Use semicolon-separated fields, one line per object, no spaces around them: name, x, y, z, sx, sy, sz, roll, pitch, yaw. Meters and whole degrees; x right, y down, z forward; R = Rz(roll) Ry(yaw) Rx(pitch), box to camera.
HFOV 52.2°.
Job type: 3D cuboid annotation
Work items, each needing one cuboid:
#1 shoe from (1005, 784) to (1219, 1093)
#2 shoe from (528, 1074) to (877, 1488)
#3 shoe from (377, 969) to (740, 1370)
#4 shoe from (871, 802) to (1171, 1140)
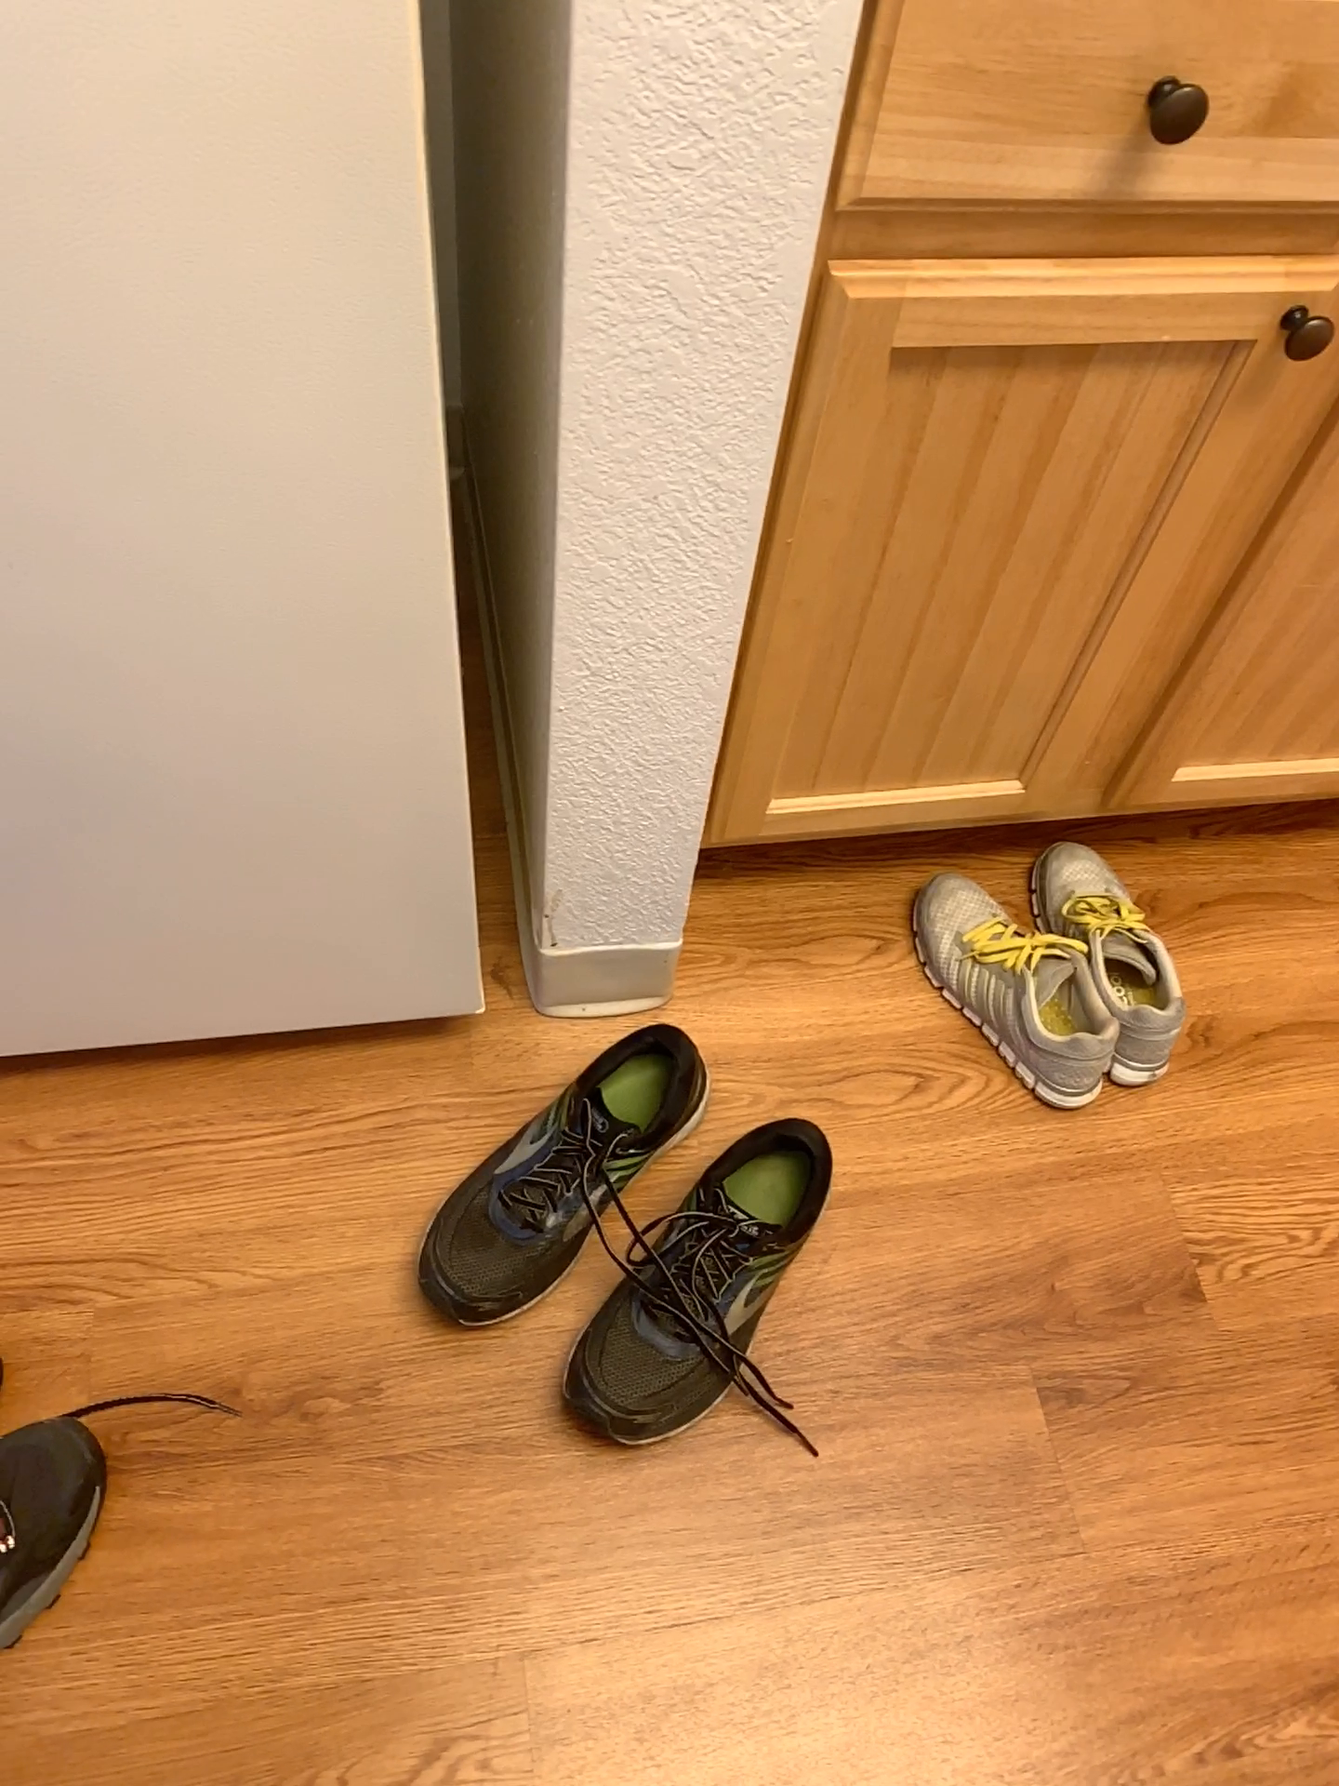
shoe;0.417;0.041;1.317;0.100;0.110;0.271;-6;57;-3
shoe;0.024;0.294;1.050;0.110;0.139;0.271;36;60;17
shoe;-0.081;0.211;1.061;0.100;0.139;0.281;38;60;18
shoe;0.306;0.067;1.229;0.100;0.110;0.271;-26;63;-15
